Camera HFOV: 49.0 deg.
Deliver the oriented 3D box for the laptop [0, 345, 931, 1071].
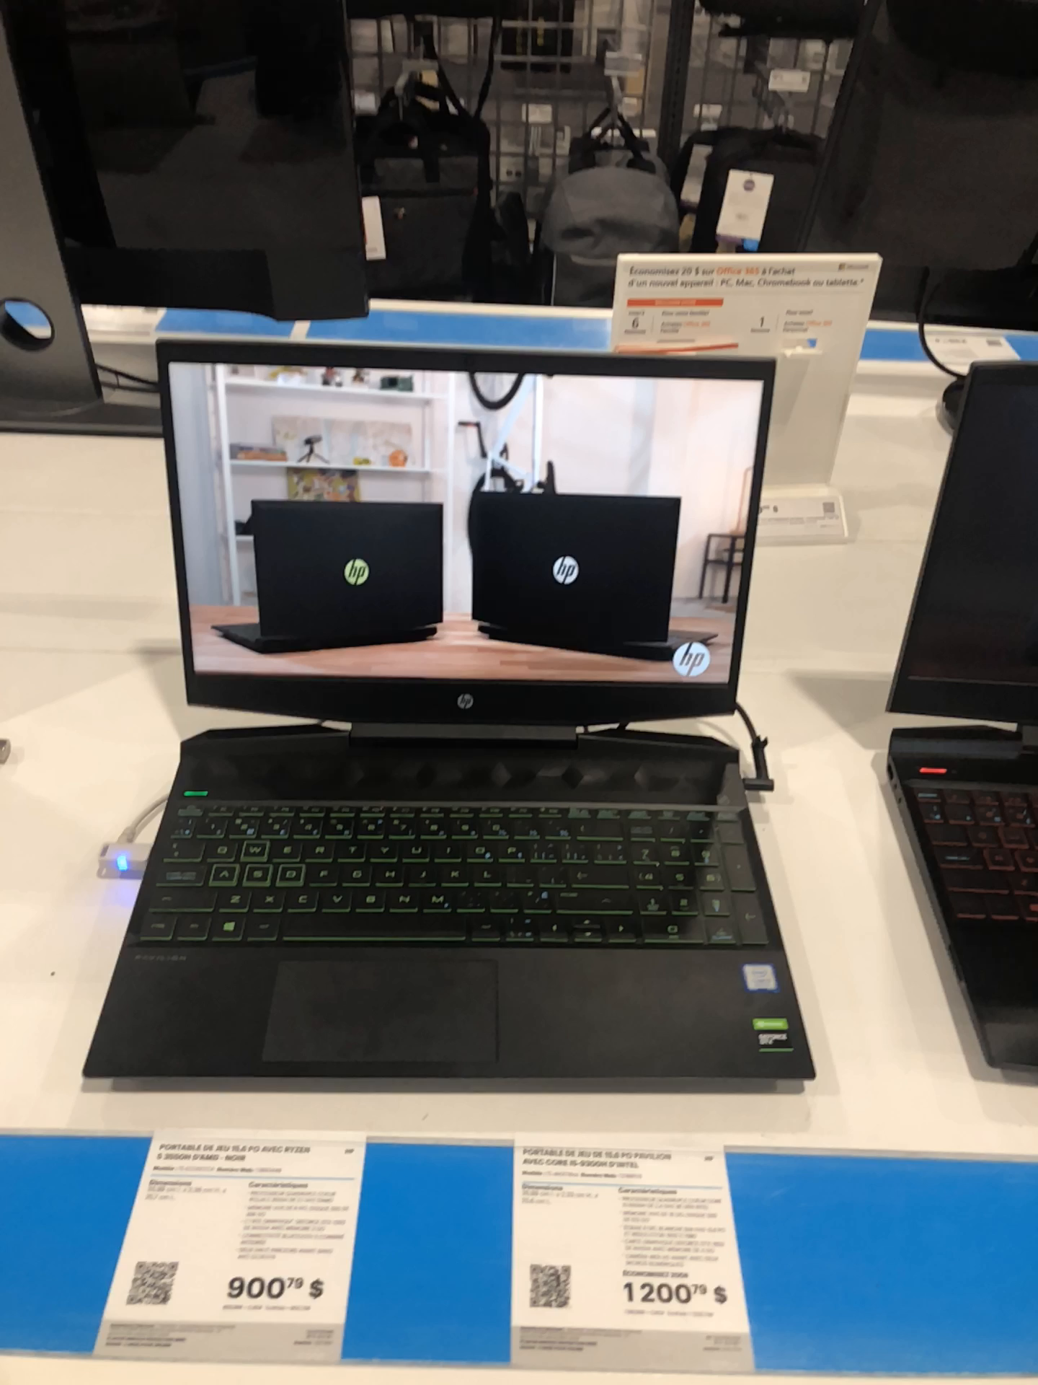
[{"bbox_3d":[-0.032,-0.005,0.612,0.355,0.232,0.317,1,38,-4],"label":"laptop"}]
